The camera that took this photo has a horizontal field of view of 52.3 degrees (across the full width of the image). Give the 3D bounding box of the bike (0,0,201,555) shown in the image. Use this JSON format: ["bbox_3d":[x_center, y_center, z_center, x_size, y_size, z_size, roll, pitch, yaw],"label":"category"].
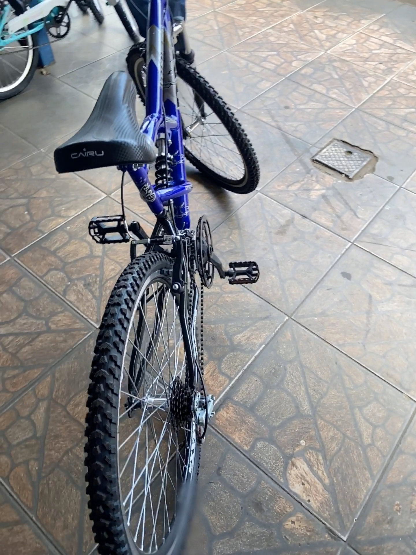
[{"bbox_3d":[-0.347,-0.187,1.094,0.514,1.020,1.617,-3,52,-3],"label":"bike"}]
